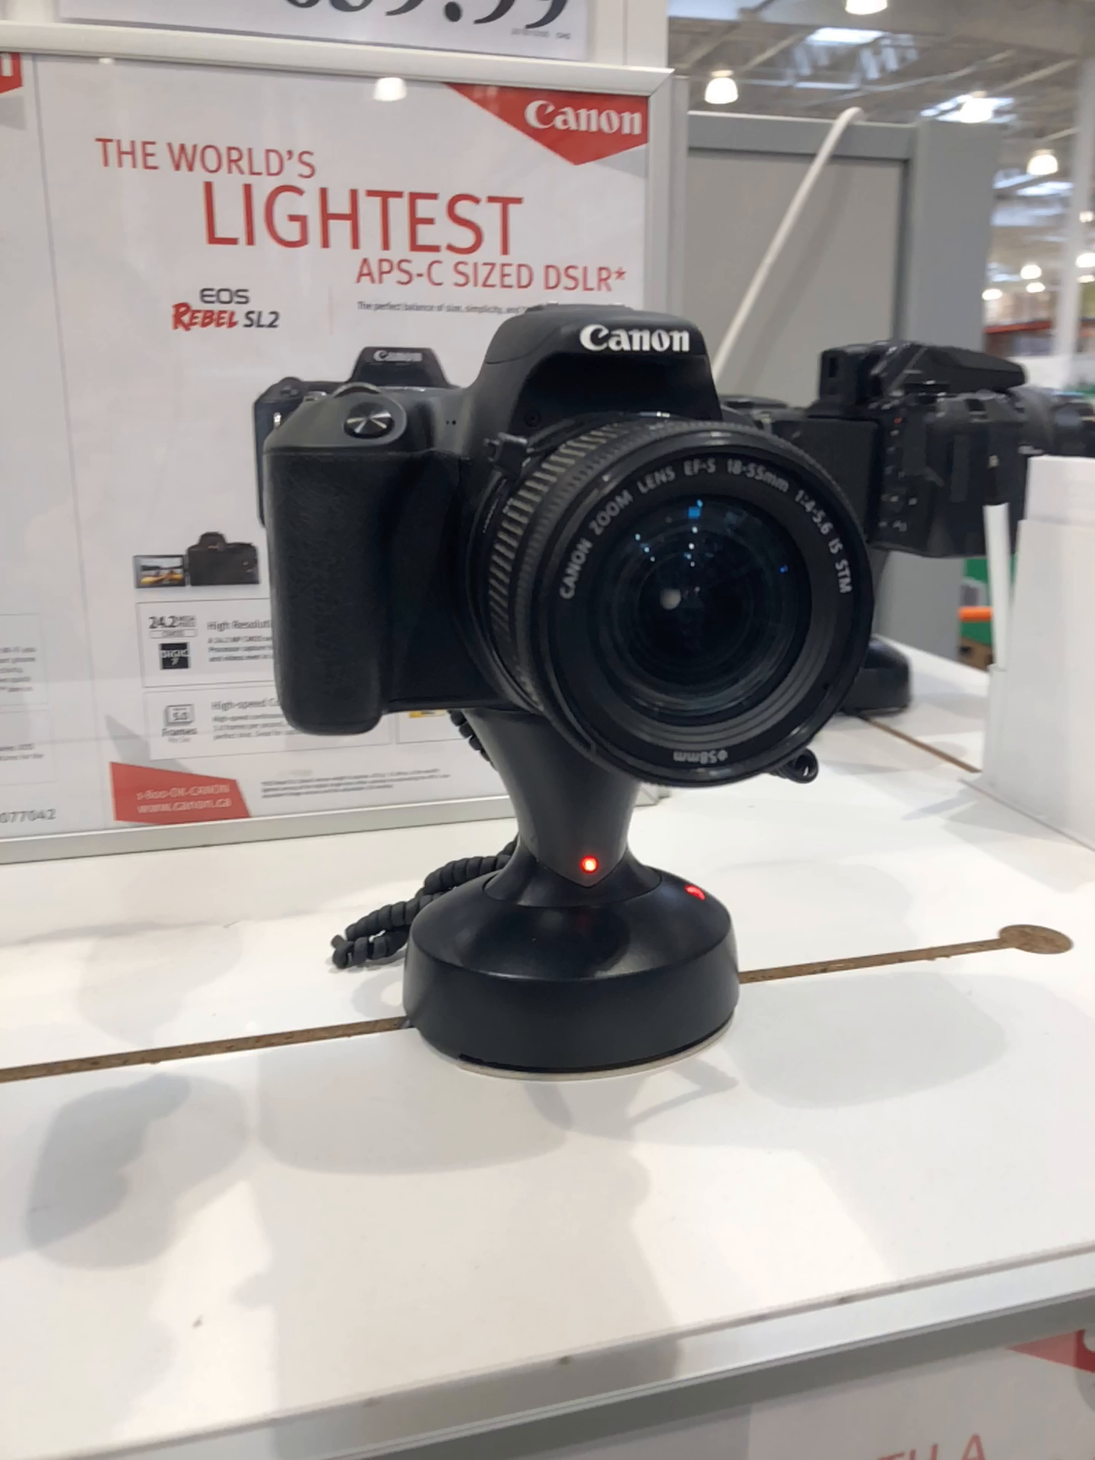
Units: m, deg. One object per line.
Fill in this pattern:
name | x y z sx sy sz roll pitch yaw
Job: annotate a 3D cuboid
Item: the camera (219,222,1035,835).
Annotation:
camera | 0.002 -0.046 0.251 0.130 0.090 0.121 -3 15 -14
